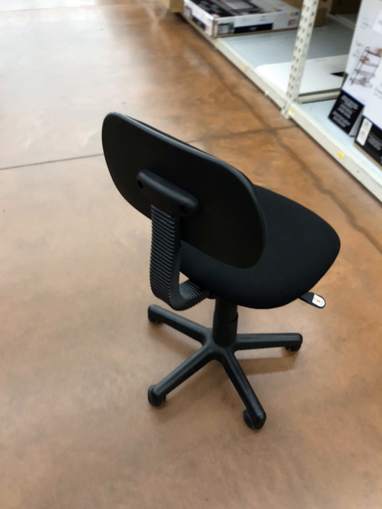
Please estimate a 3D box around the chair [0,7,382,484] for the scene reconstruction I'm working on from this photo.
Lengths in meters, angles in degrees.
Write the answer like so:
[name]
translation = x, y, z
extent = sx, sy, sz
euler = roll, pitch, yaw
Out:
[chair]
translation = 0.092, -0.060, 1.091
extent = 0.671, 0.797, 0.662
euler = 34, 52, 28
